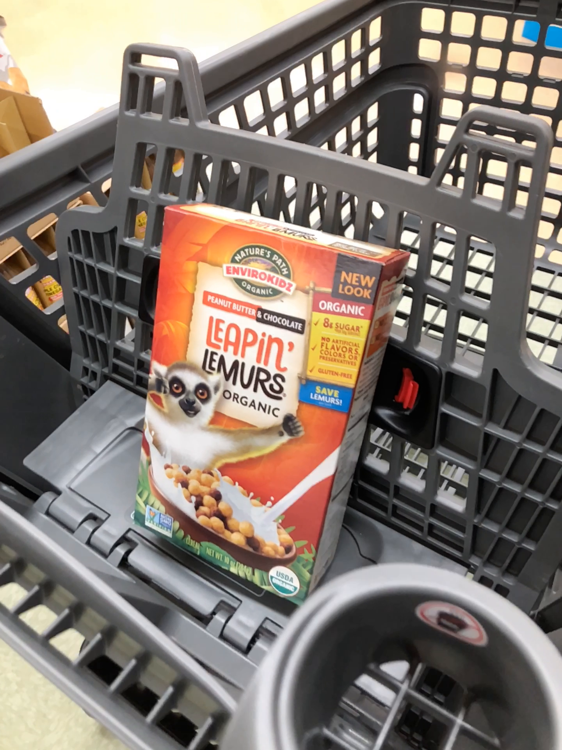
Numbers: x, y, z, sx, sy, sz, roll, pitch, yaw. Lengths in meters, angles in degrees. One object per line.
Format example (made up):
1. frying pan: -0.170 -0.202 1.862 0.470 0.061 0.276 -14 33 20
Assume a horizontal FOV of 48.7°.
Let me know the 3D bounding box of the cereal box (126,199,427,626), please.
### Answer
1. cereal box: -0.014 0.022 0.446 0.160 0.260 0.070 19 22 22
